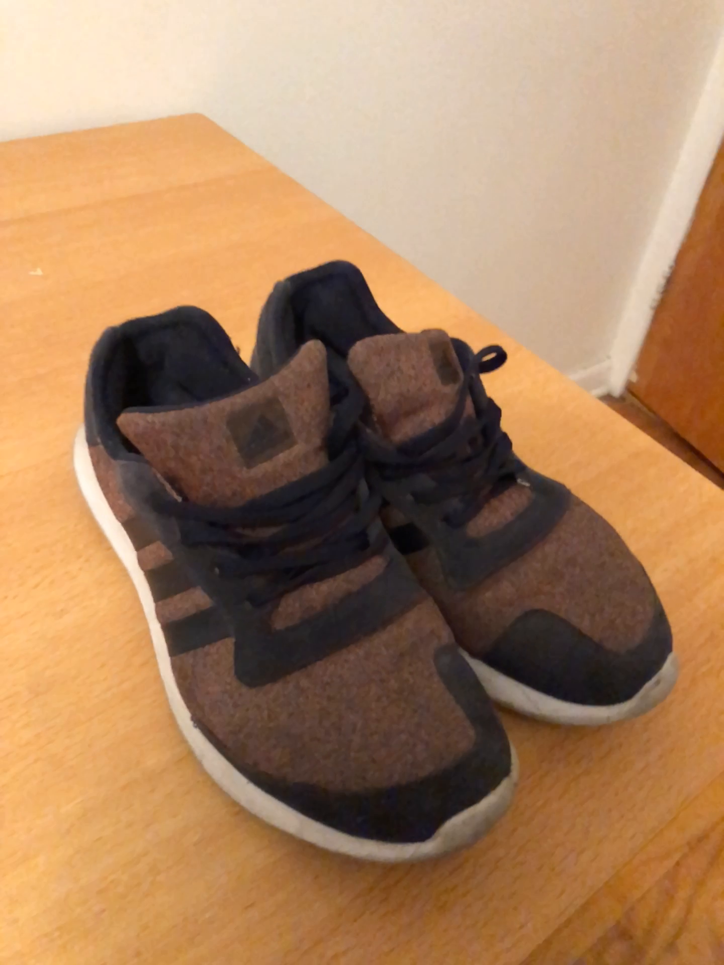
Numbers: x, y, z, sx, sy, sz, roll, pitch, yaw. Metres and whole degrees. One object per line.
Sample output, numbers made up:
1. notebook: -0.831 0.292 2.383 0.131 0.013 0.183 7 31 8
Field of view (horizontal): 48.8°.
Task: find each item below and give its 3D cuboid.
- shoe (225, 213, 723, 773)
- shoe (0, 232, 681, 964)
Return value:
1. shoe: 0.055 -0.017 0.376 0.110 0.099 0.261 -26 52 -31
2. shoe: -0.049 0.016 0.342 0.131 0.099 0.311 -26 52 -31
